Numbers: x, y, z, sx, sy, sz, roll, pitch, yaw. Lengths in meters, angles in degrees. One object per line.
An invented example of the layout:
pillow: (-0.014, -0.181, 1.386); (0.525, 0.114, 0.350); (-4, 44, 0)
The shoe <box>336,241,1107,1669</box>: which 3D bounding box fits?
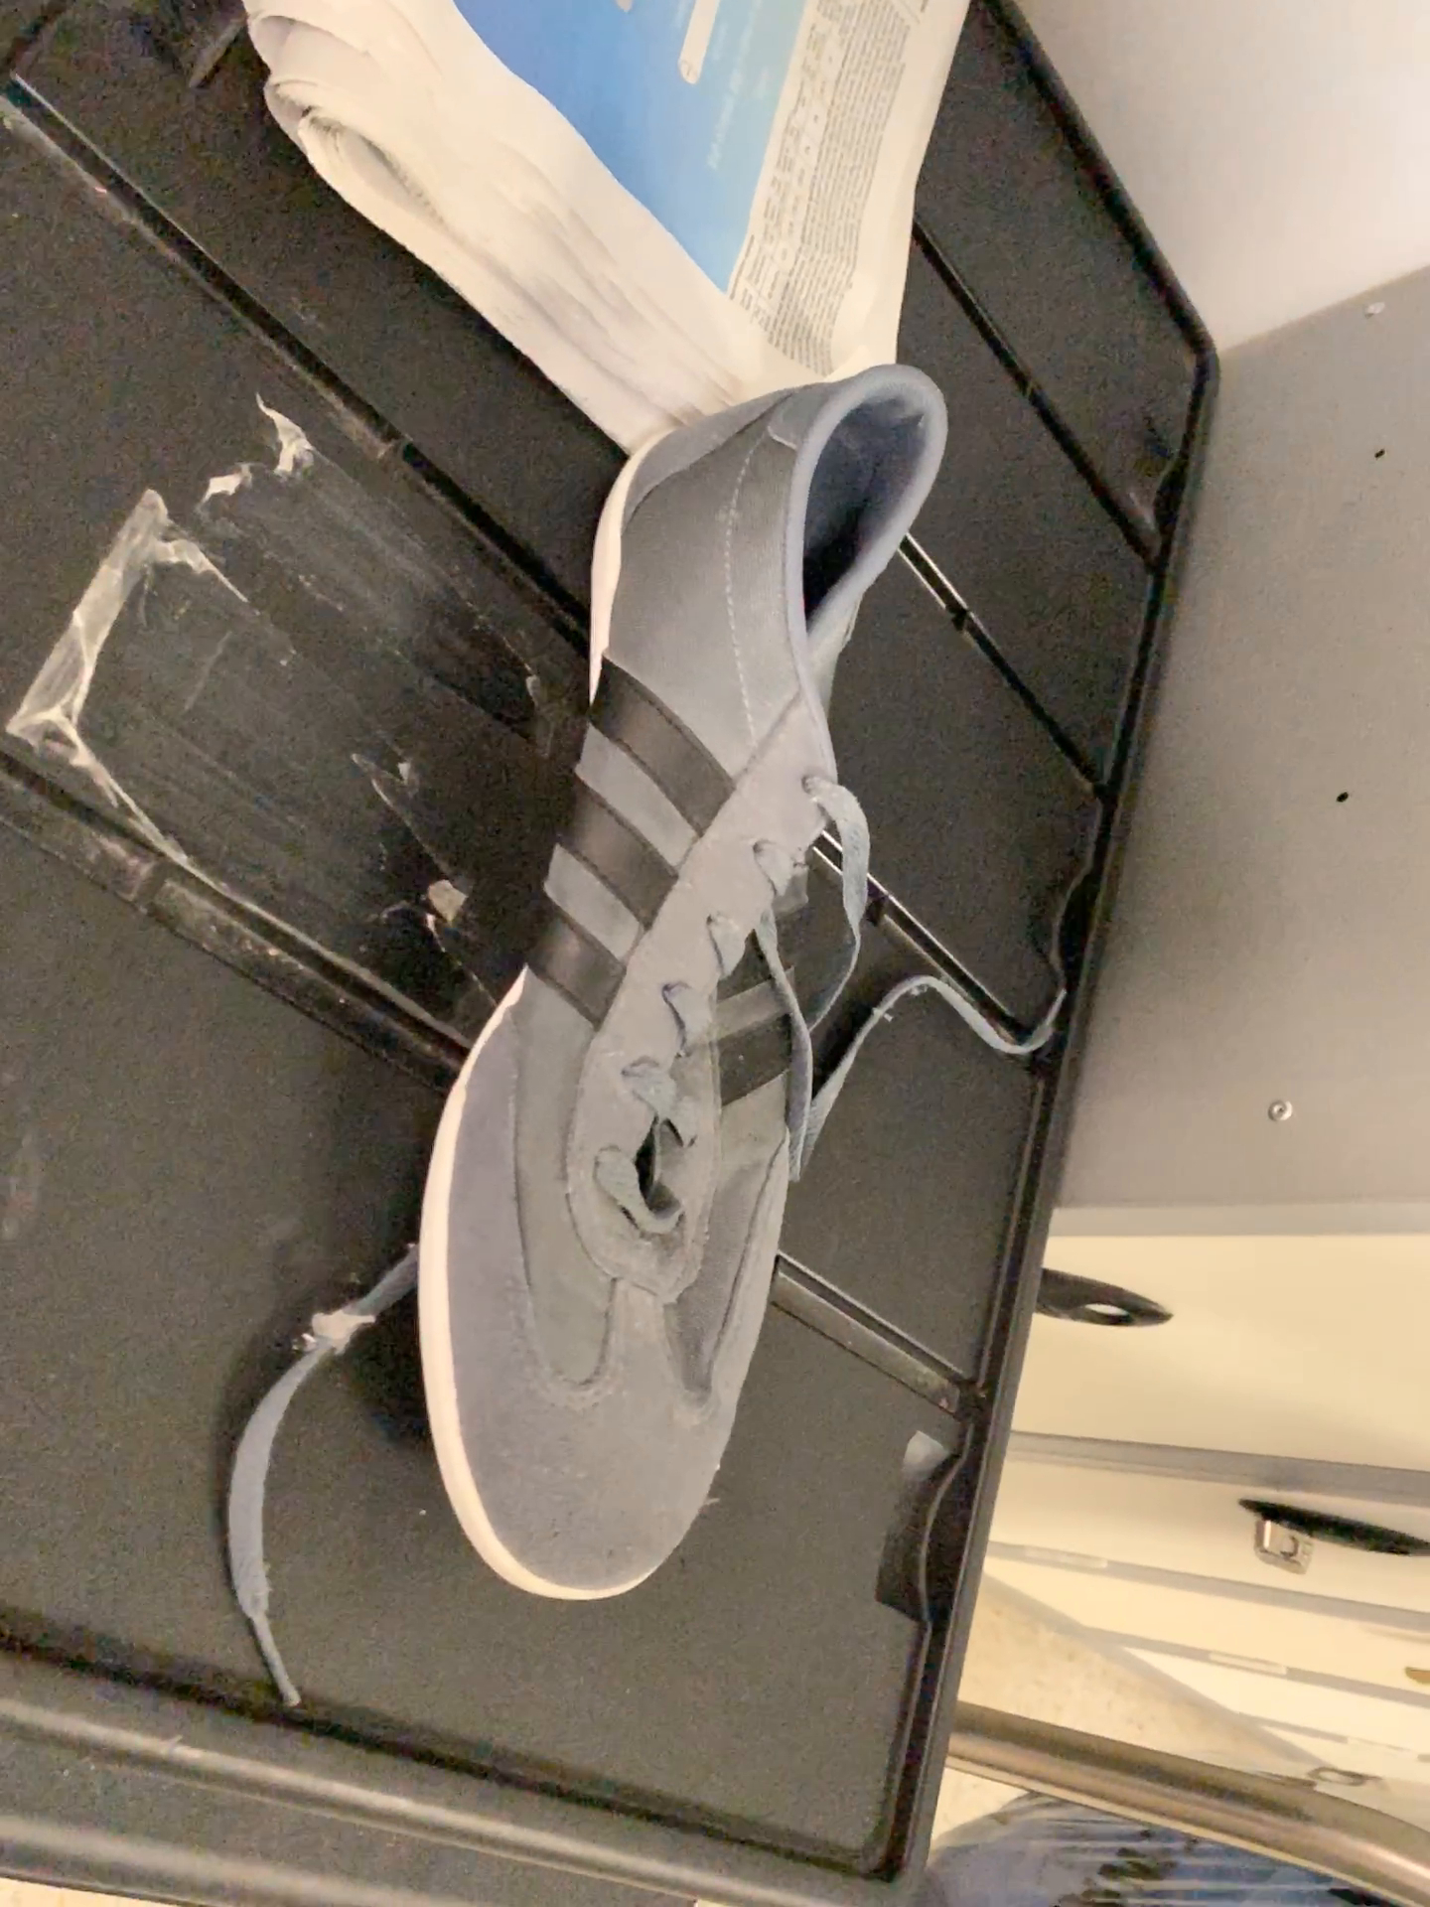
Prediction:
shoe: (0.016, 0.002, 0.321); (0.114, 0.077, 0.268); (26, 64, -41)
